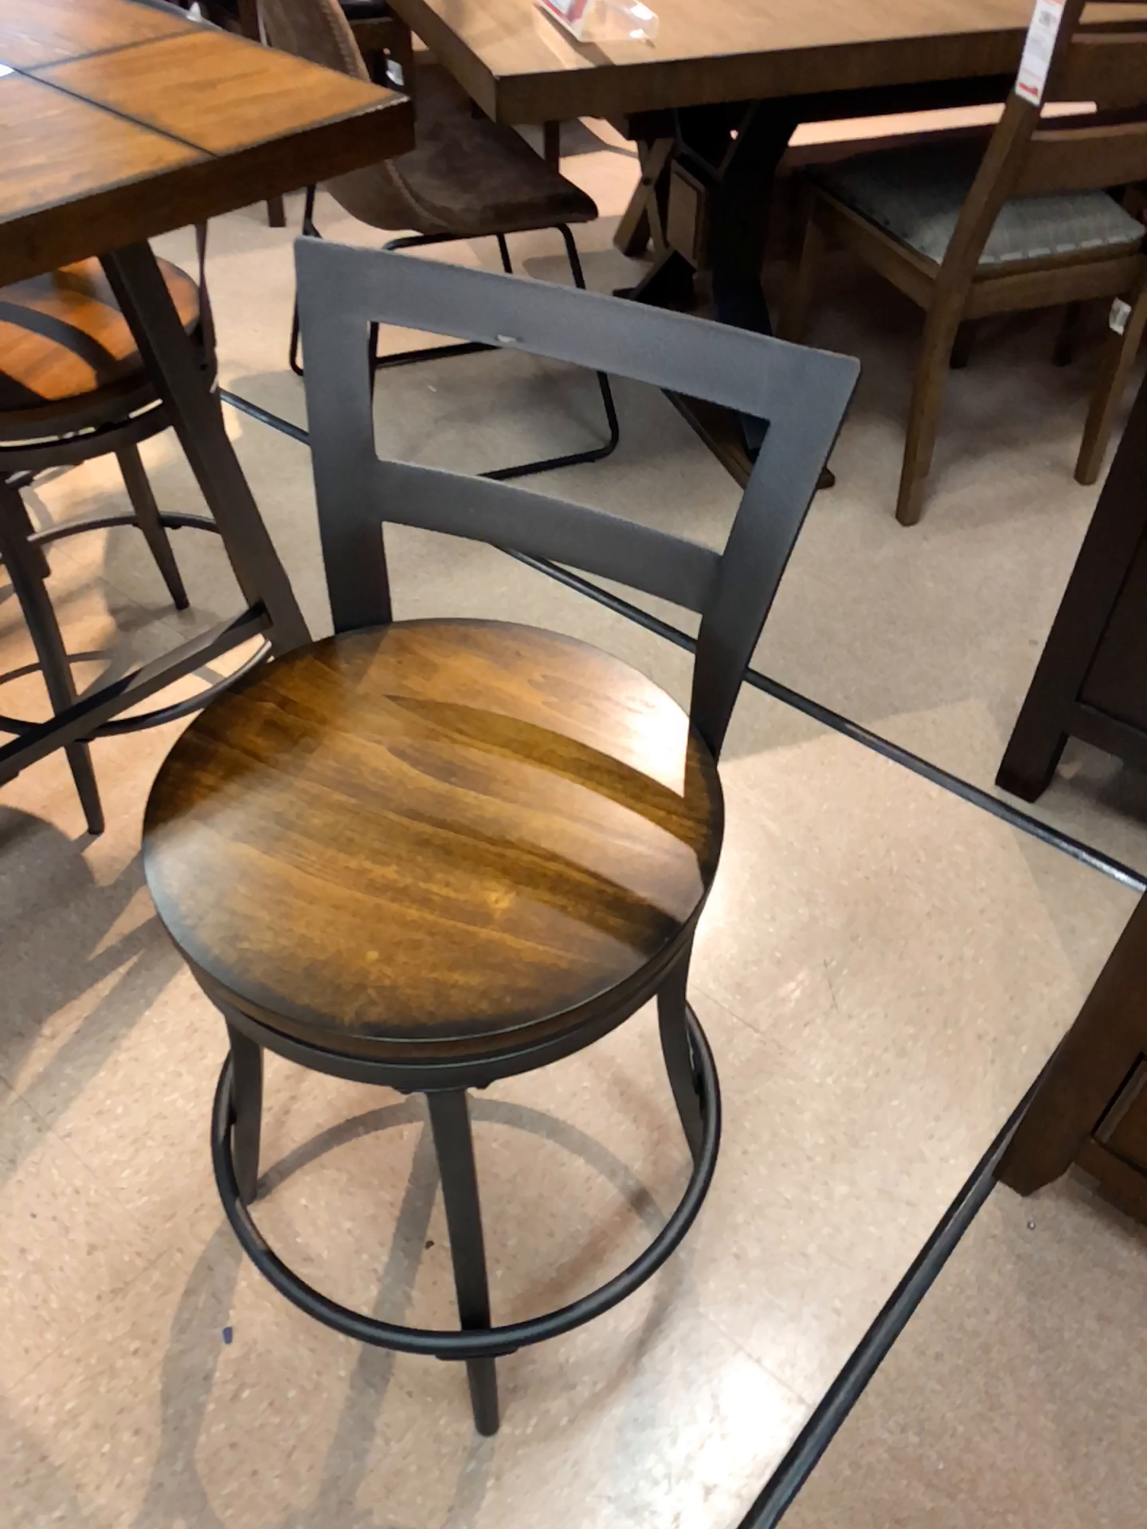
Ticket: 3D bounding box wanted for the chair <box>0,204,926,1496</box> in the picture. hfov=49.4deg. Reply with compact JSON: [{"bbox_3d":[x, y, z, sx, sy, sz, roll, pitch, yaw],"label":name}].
[{"bbox_3d":[-0.111,0.097,0.976,0.491,0.805,0.462,19,47,17],"label":"chair"}]
